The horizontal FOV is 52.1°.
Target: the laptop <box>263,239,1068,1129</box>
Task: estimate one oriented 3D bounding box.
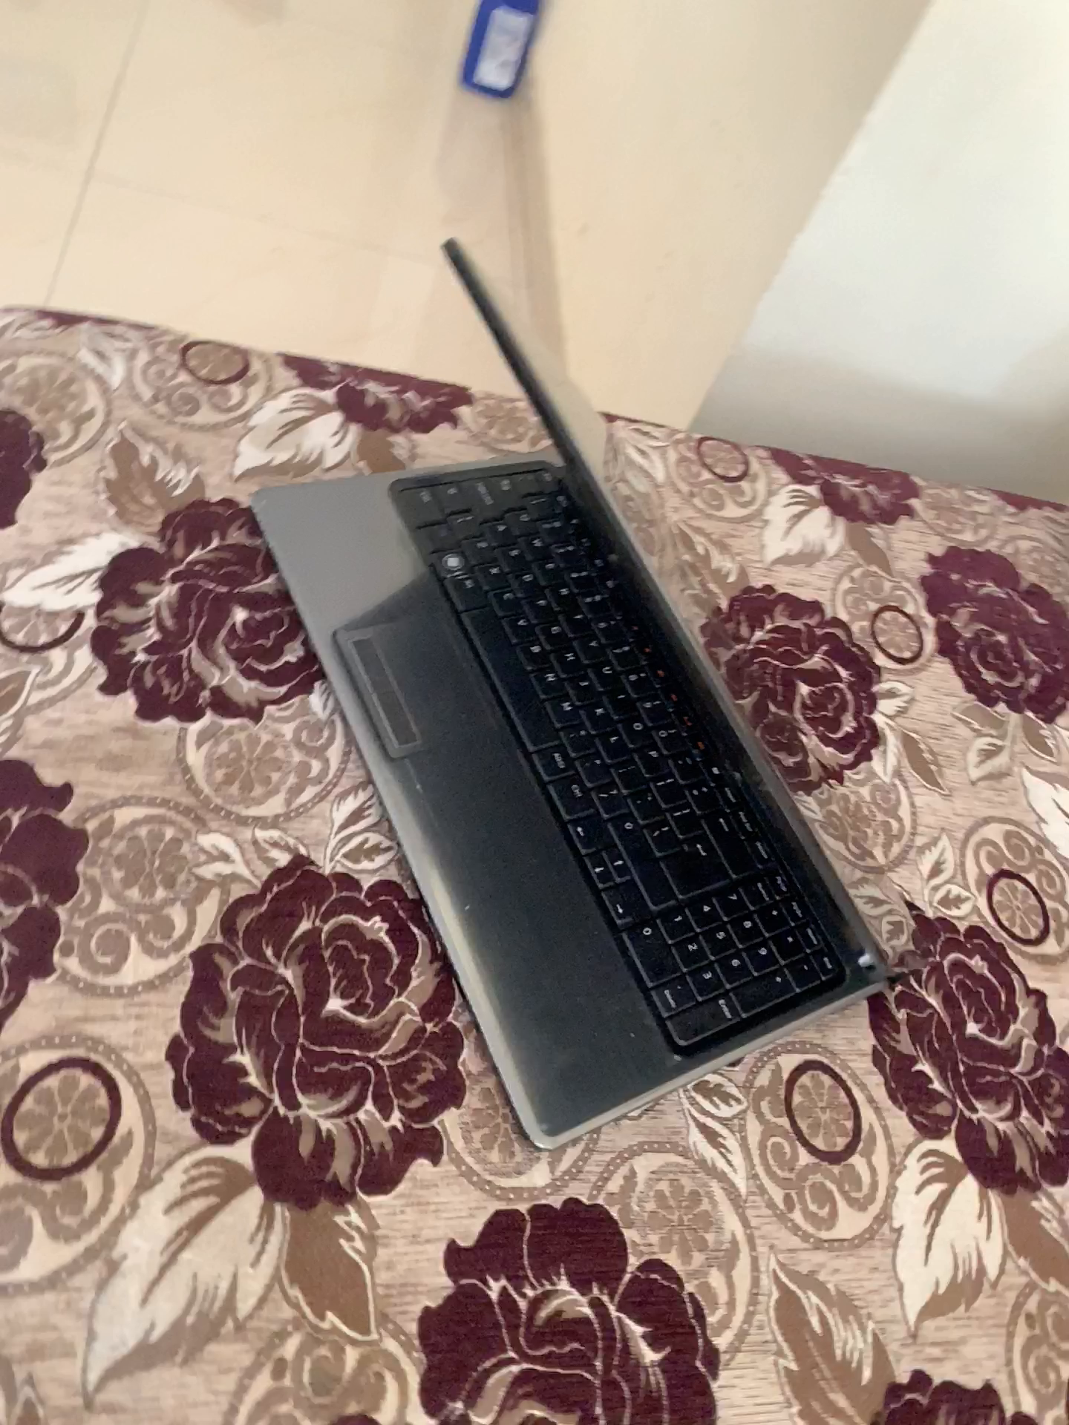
[{"bbox_3d":[0.043,-0.041,0.526,0.221,0.154,0.364,-14,63,-29],"label":"laptop"}]
